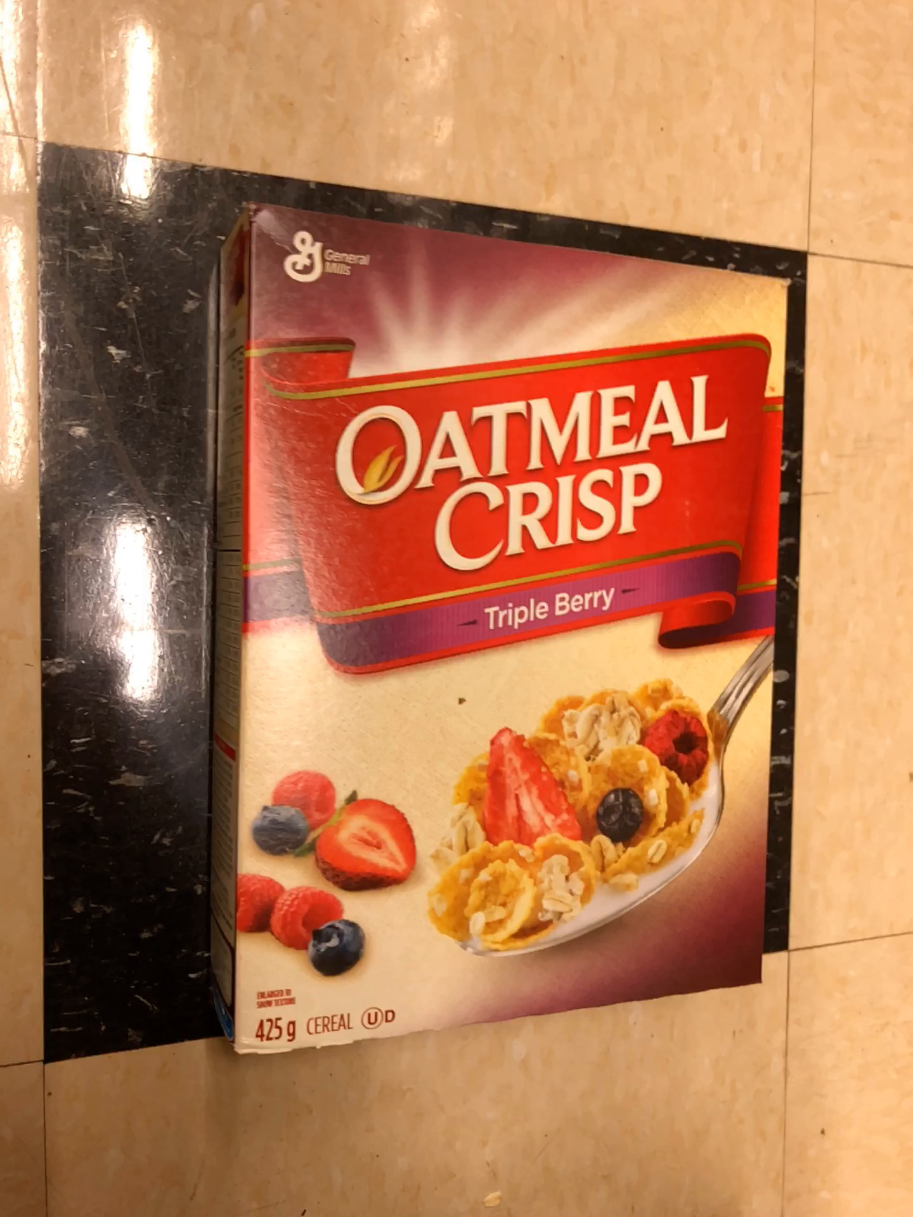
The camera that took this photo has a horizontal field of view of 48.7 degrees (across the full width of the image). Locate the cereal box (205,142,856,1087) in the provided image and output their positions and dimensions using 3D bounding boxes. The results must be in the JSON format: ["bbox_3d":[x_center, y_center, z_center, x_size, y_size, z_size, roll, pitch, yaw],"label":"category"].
[{"bbox_3d":[0.024,0.002,0.334,0.200,0.070,0.250,0,91,-20],"label":"cereal box"}]
